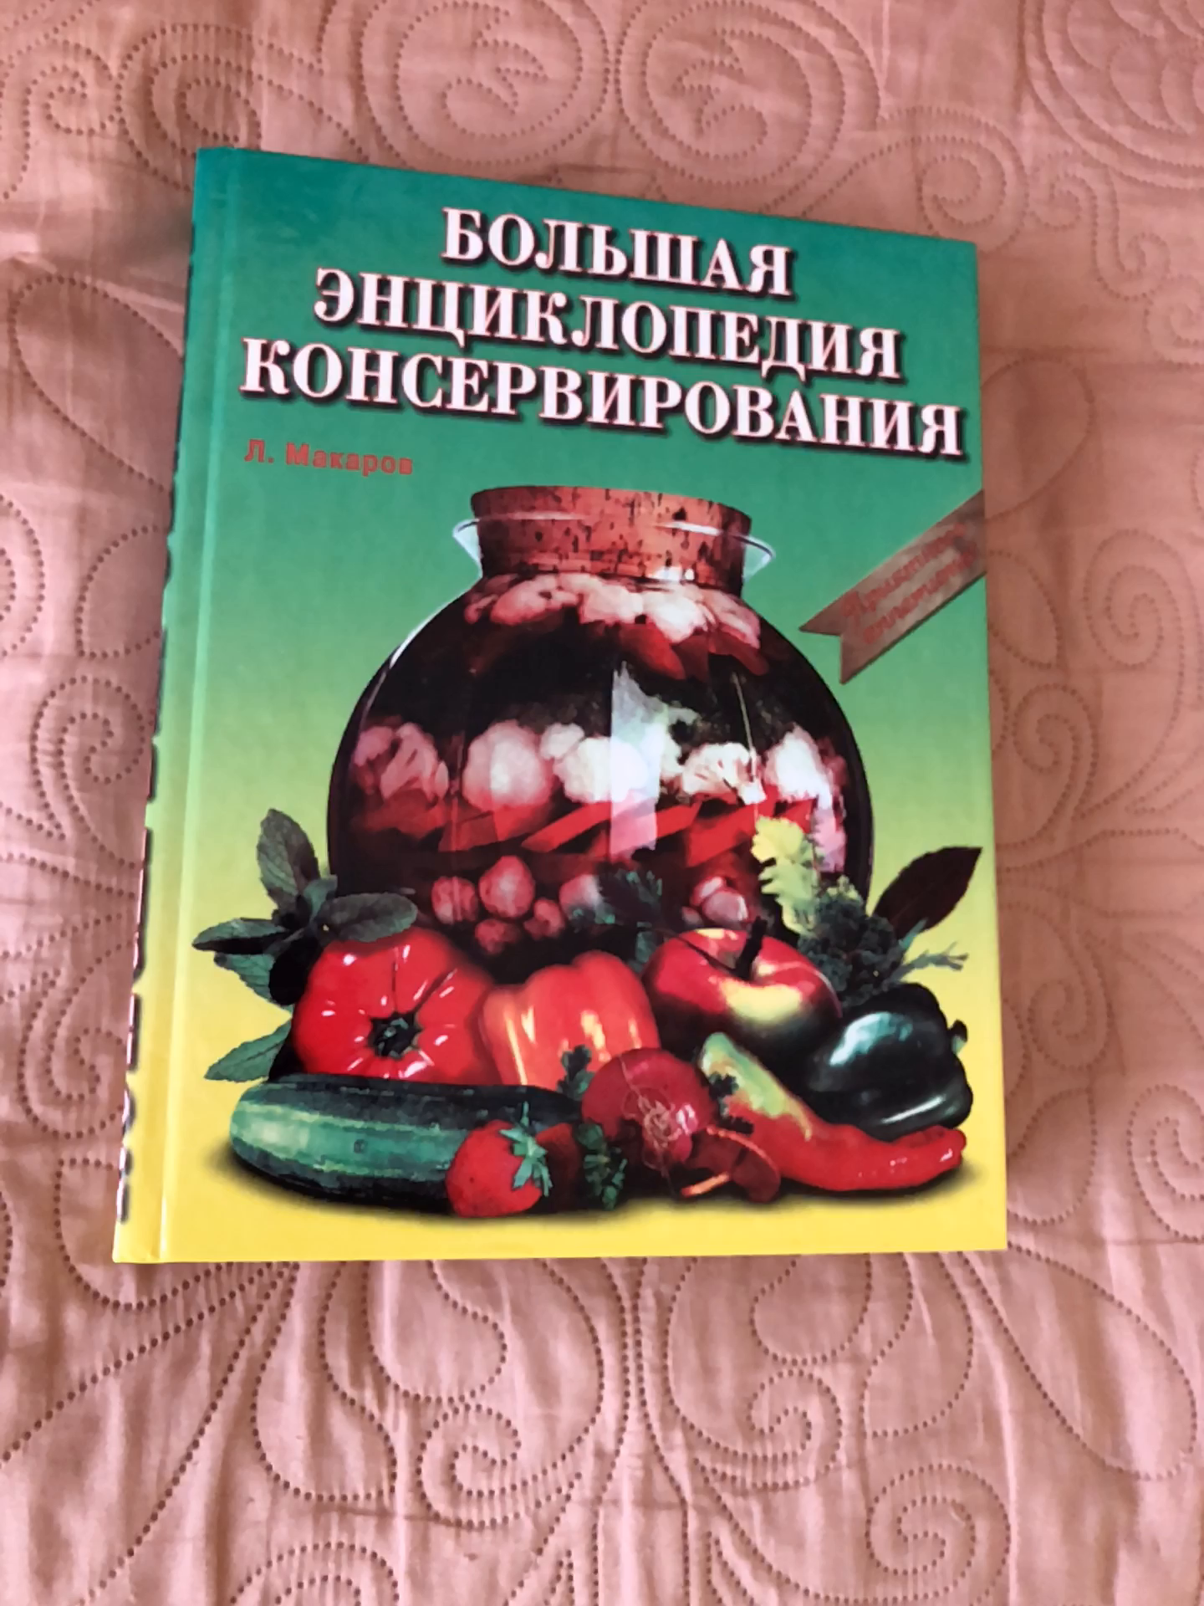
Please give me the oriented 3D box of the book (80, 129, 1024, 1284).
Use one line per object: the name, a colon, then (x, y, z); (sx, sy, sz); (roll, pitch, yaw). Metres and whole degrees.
book: (-0.007, -0.023, 0.350); (0.216, 0.050, 0.272); (3, 79, -11)
